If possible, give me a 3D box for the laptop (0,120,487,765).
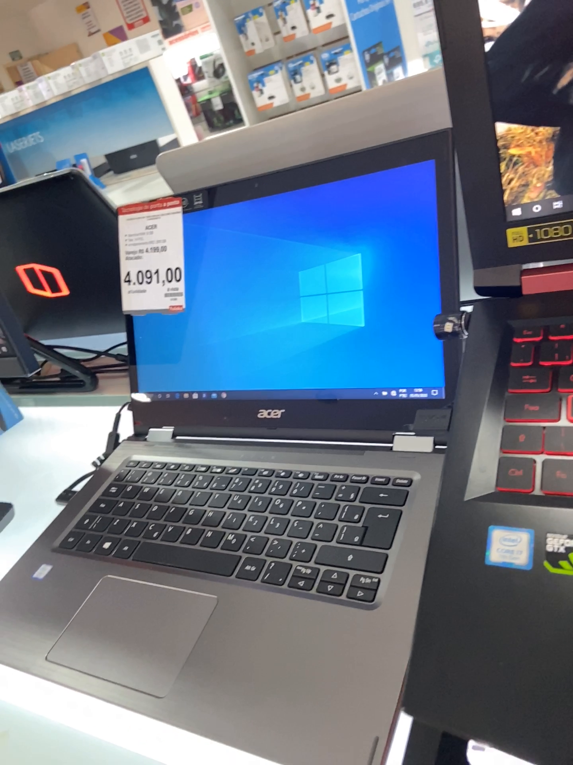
[{"bbox_3d":[-0.066,0.003,0.421,0.328,0.187,0.357,-2,36,30],"label":"laptop"}]
